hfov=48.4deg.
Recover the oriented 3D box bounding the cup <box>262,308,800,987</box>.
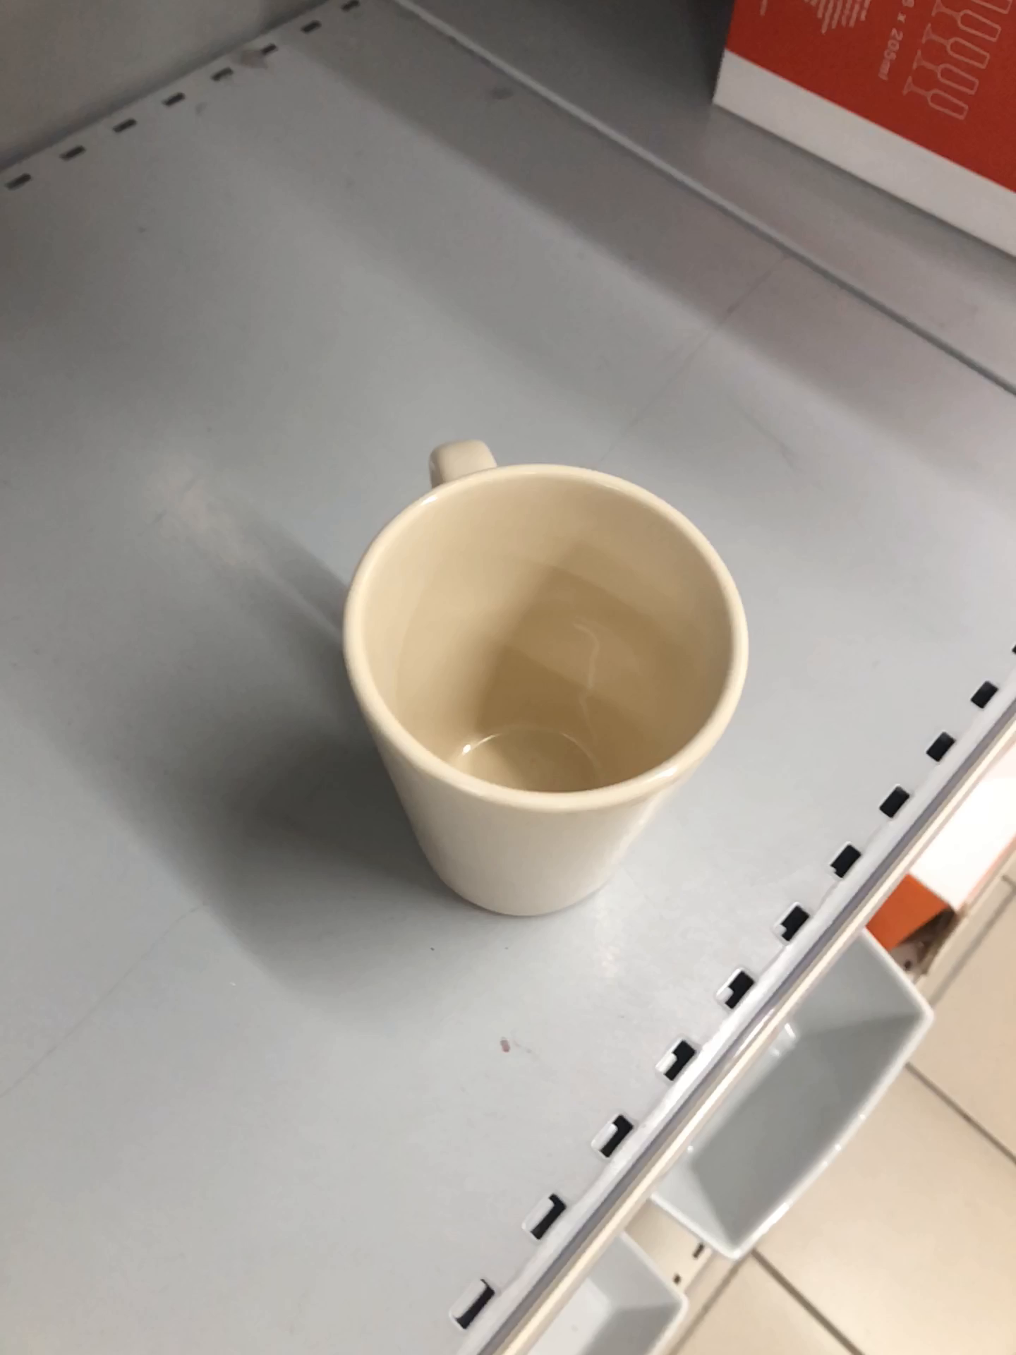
[{"bbox_3d":[-0.003,-0.005,0.278,0.082,0.100,0.119,-12,63,-10],"label":"cup"}]
